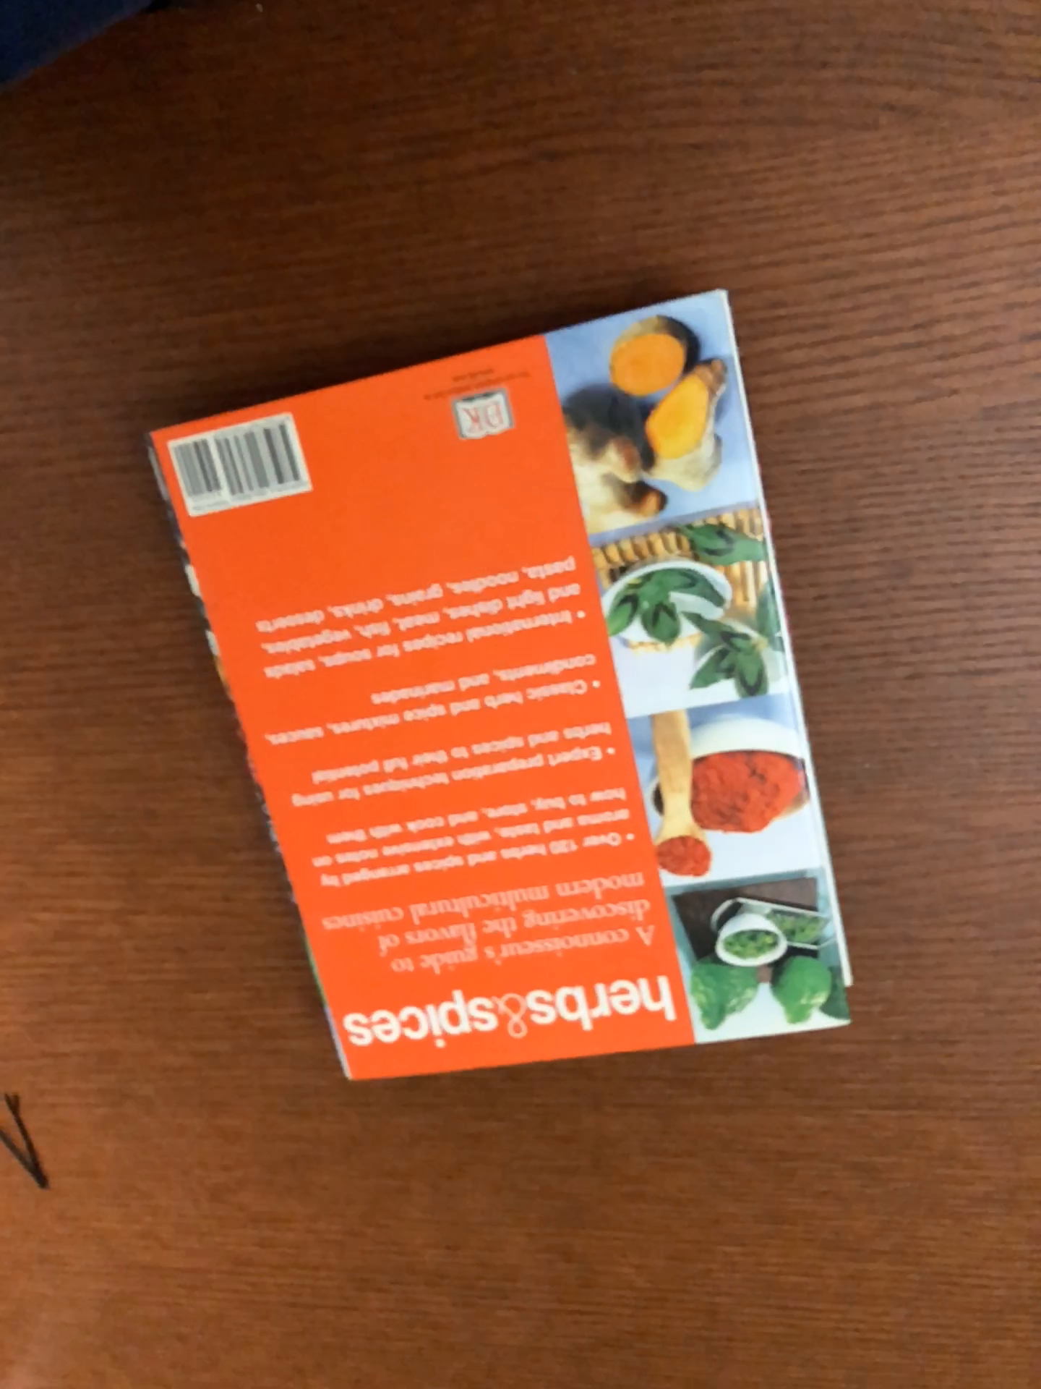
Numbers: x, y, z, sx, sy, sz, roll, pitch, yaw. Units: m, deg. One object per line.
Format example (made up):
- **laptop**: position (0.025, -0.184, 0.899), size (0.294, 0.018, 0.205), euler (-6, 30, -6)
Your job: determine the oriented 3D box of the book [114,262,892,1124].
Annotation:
- **book**: position (0.002, 0.015, 0.404), size (0.210, 0.040, 0.270), euler (-9, 106, 12)
